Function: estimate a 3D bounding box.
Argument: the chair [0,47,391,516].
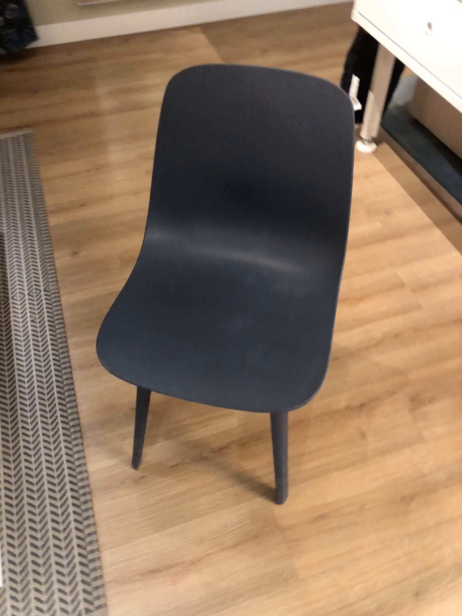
[{"bbox_3d":[-0.005,-0.025,1.060,0.470,0.728,0.562,10,51,9],"label":"chair"}]
